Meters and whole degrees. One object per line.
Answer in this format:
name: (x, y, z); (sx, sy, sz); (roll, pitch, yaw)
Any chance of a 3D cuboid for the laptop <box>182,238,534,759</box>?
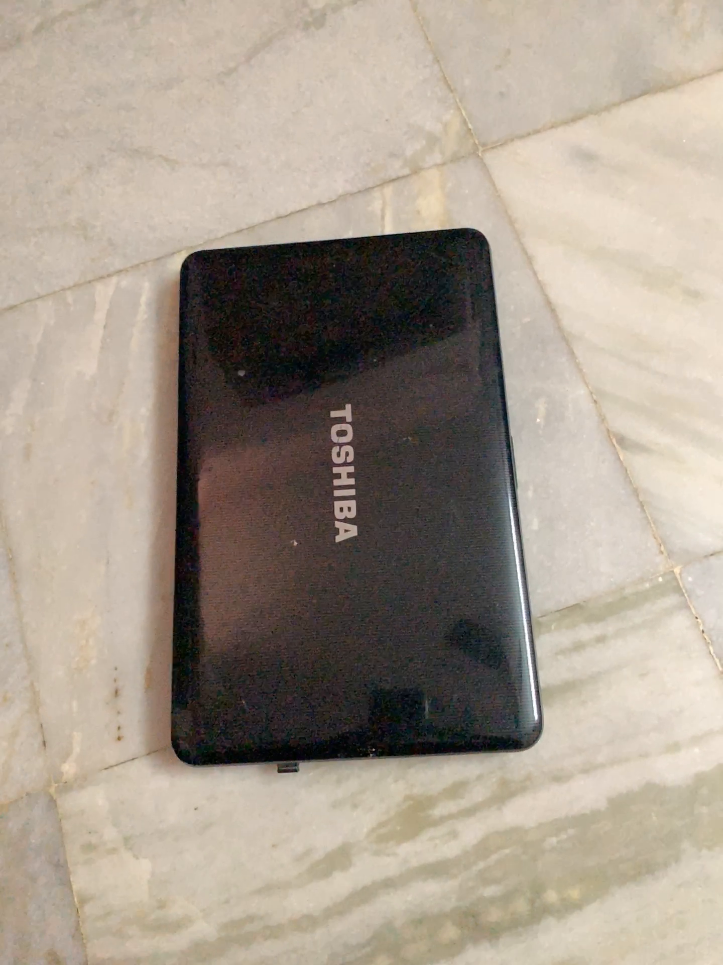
laptop: (-0.013, -0.004, 0.514); (0.222, 0.003, 0.355); (-4, 75, 2)
